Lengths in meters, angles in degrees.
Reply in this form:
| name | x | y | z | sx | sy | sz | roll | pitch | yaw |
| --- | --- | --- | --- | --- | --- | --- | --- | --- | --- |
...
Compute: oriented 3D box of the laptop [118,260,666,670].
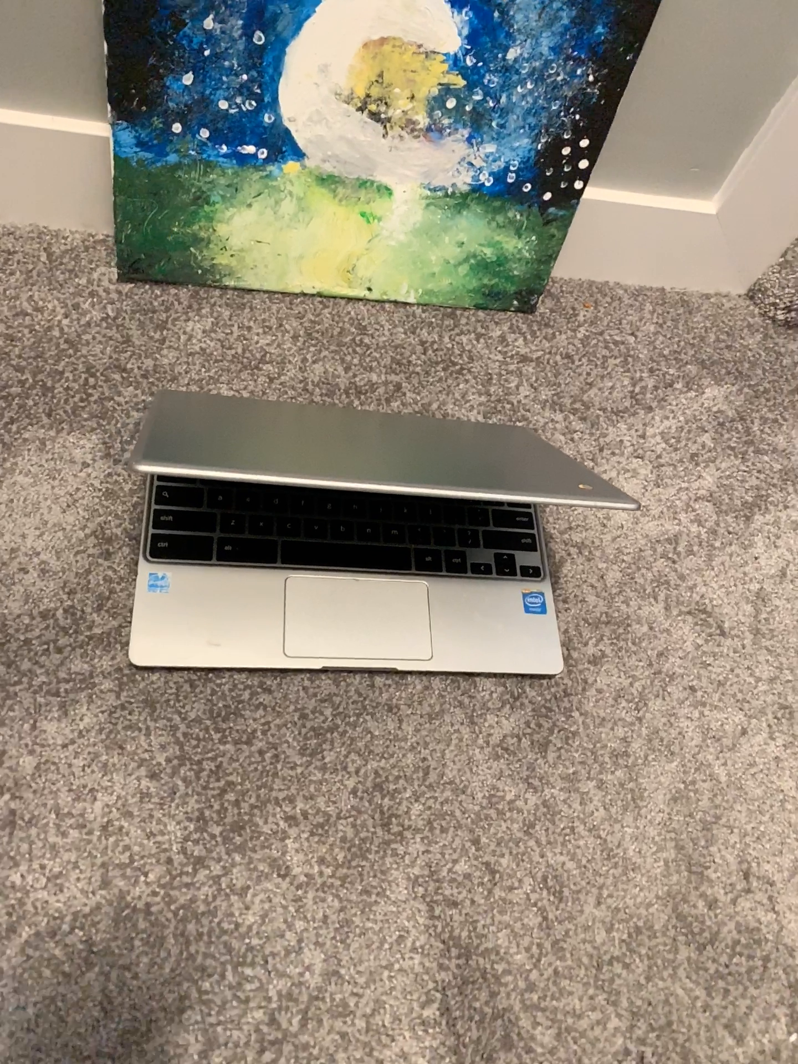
| name | x | y | z | sx | sy | sz | roll | pitch | yaw |
| --- | --- | --- | --- | --- | --- | --- | --- | --- | --- |
| laptop | -0.014 | -0.030 | 0.532 | 0.294 | 0.144 | 0.200 | 3 | 62 | -14 |
